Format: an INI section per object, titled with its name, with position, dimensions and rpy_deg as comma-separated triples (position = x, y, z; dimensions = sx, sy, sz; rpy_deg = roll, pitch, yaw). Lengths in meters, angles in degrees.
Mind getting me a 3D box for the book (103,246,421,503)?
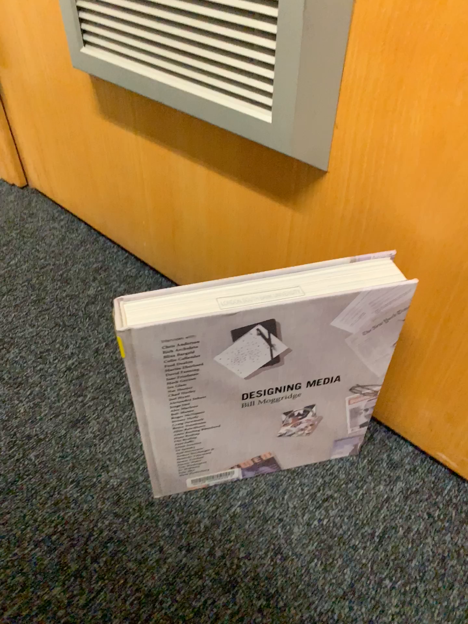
[book]
position = 0.019, 0.065, 0.403
dimensions = 0.210, 0.231, 0.040
rpy_deg = -10, 45, -11
